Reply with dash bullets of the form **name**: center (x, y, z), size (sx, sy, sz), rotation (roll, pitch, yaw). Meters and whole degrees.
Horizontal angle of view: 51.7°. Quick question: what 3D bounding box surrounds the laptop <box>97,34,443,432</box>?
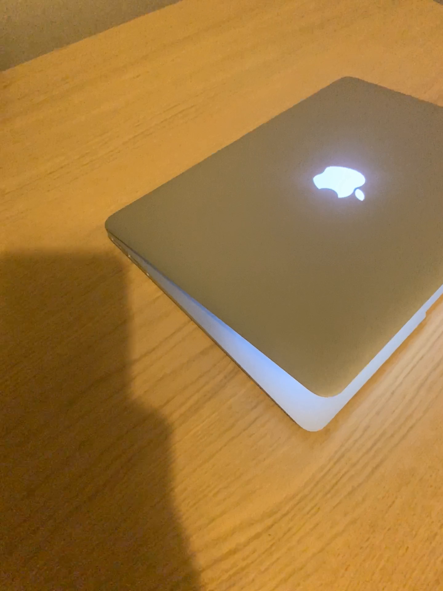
- **laptop**: center (0.099, -0.087, 0.373), size (0.320, 0.048, 0.218), rotation (-38, 68, -24)
